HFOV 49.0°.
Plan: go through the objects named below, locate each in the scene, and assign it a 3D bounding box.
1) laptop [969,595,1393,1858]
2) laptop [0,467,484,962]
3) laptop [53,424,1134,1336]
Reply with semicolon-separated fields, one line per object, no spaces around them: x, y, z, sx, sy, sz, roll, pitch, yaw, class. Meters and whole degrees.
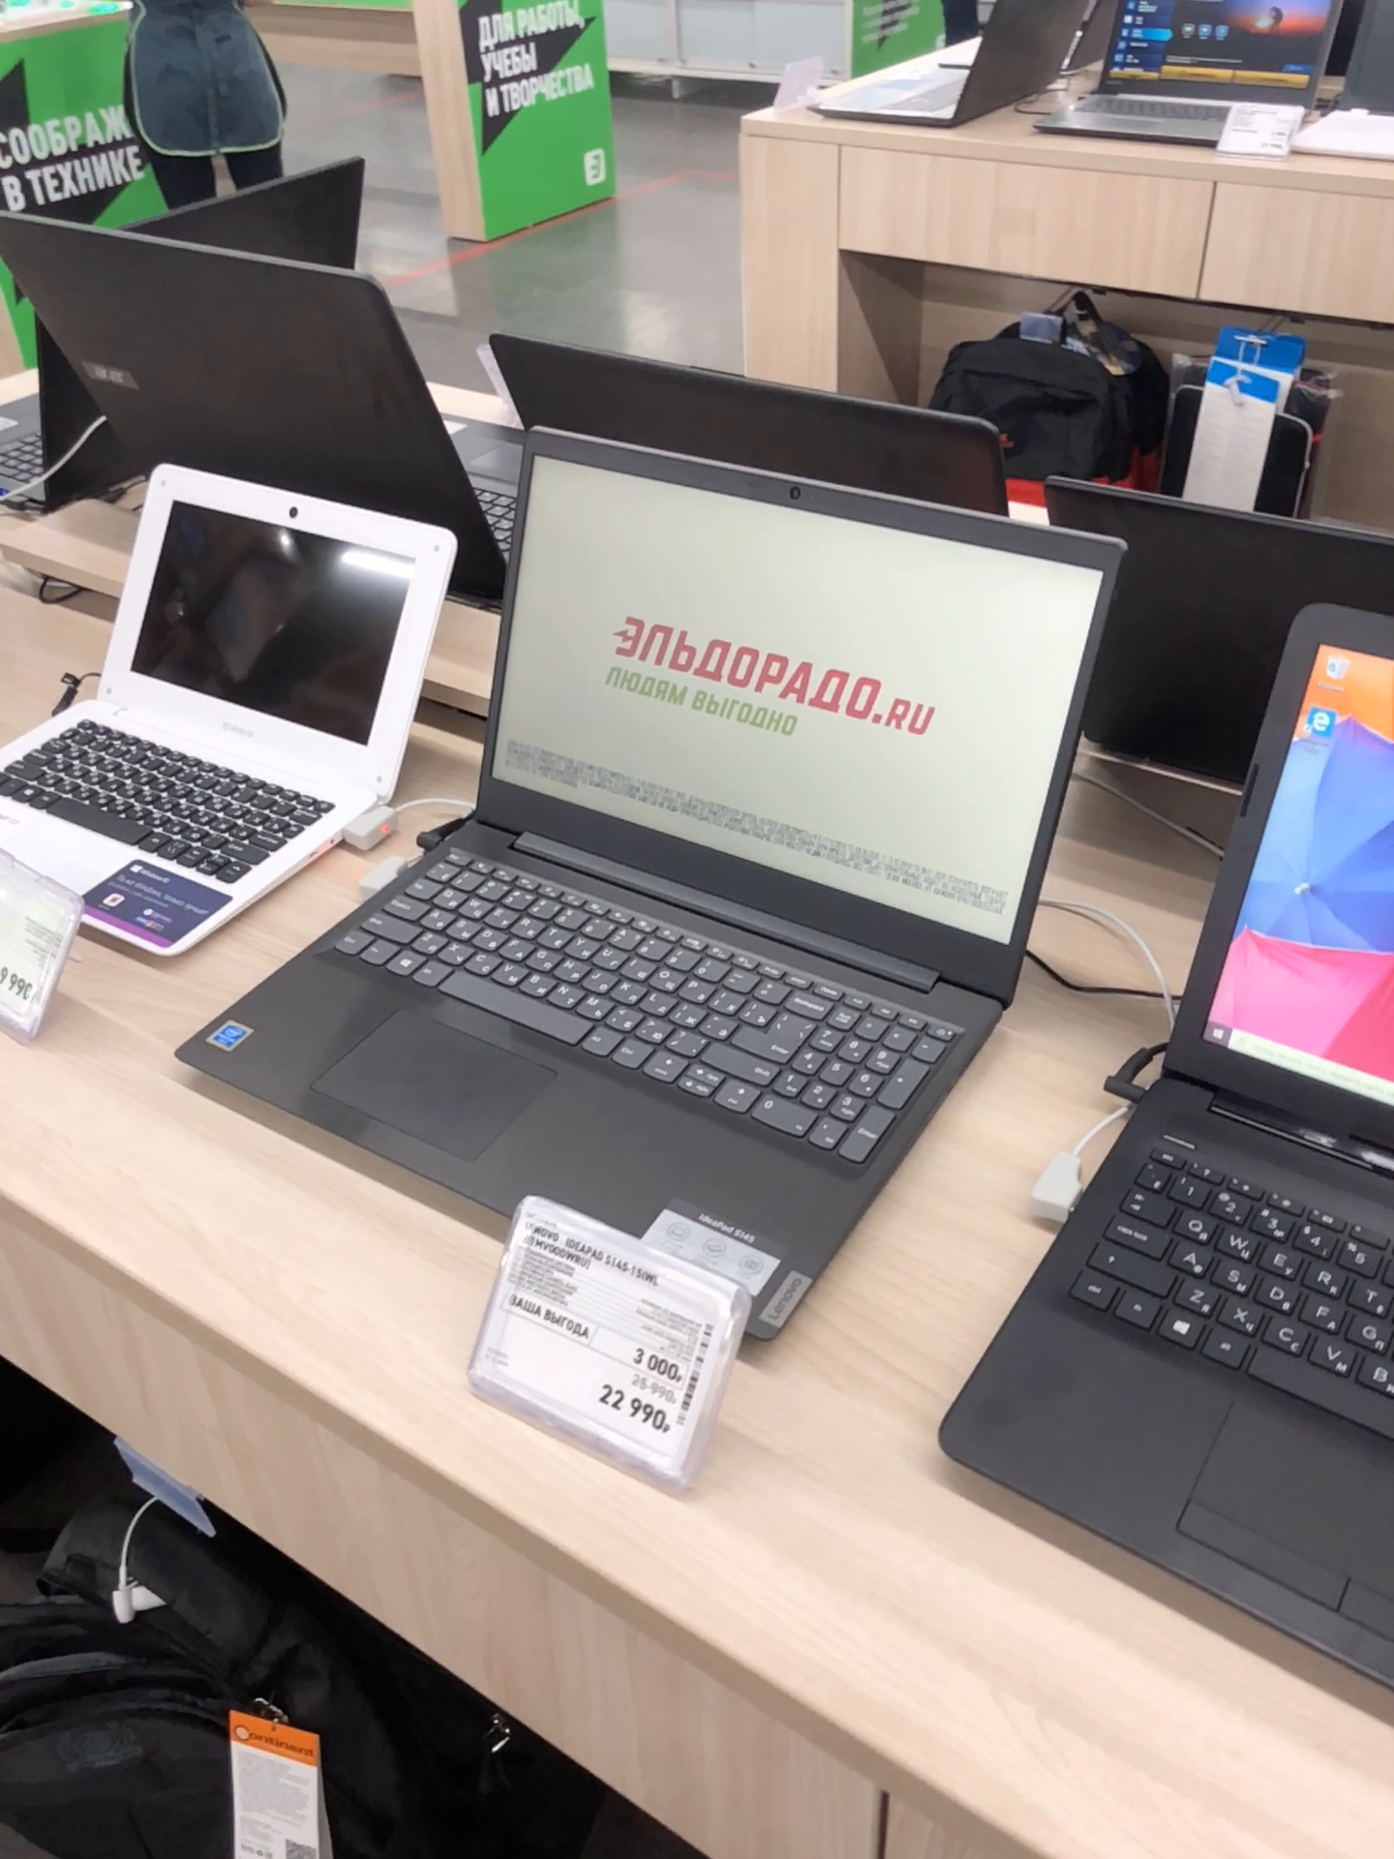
0.340;0.081;0.524;0.375;0.206;0.322;20;43;28;laptop
-0.343;-0.156;0.974;0.279;0.139;0.290;19;42;26;laptop
-0.031;-0.062;0.755;0.355;0.212;0.342;19;43;26;laptop
